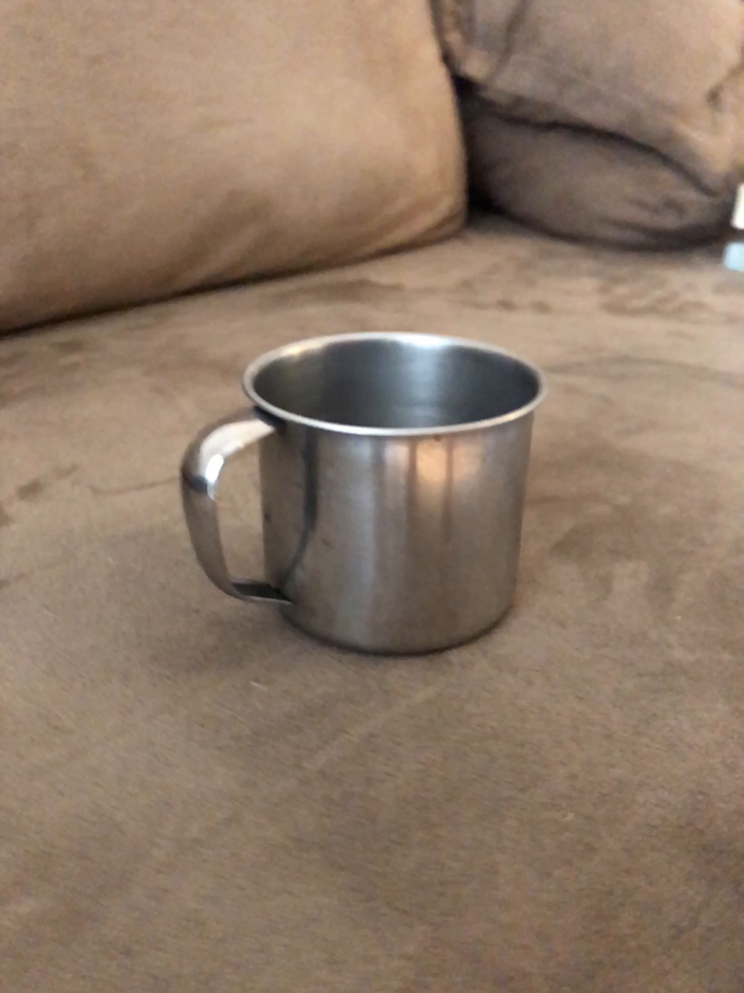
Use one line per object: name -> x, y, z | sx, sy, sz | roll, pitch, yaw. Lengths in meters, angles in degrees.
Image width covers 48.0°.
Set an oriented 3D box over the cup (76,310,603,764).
cup -> -0.007, -0.002, 0.241 | 0.110, 0.070, 0.090 | -23, 34, -38
